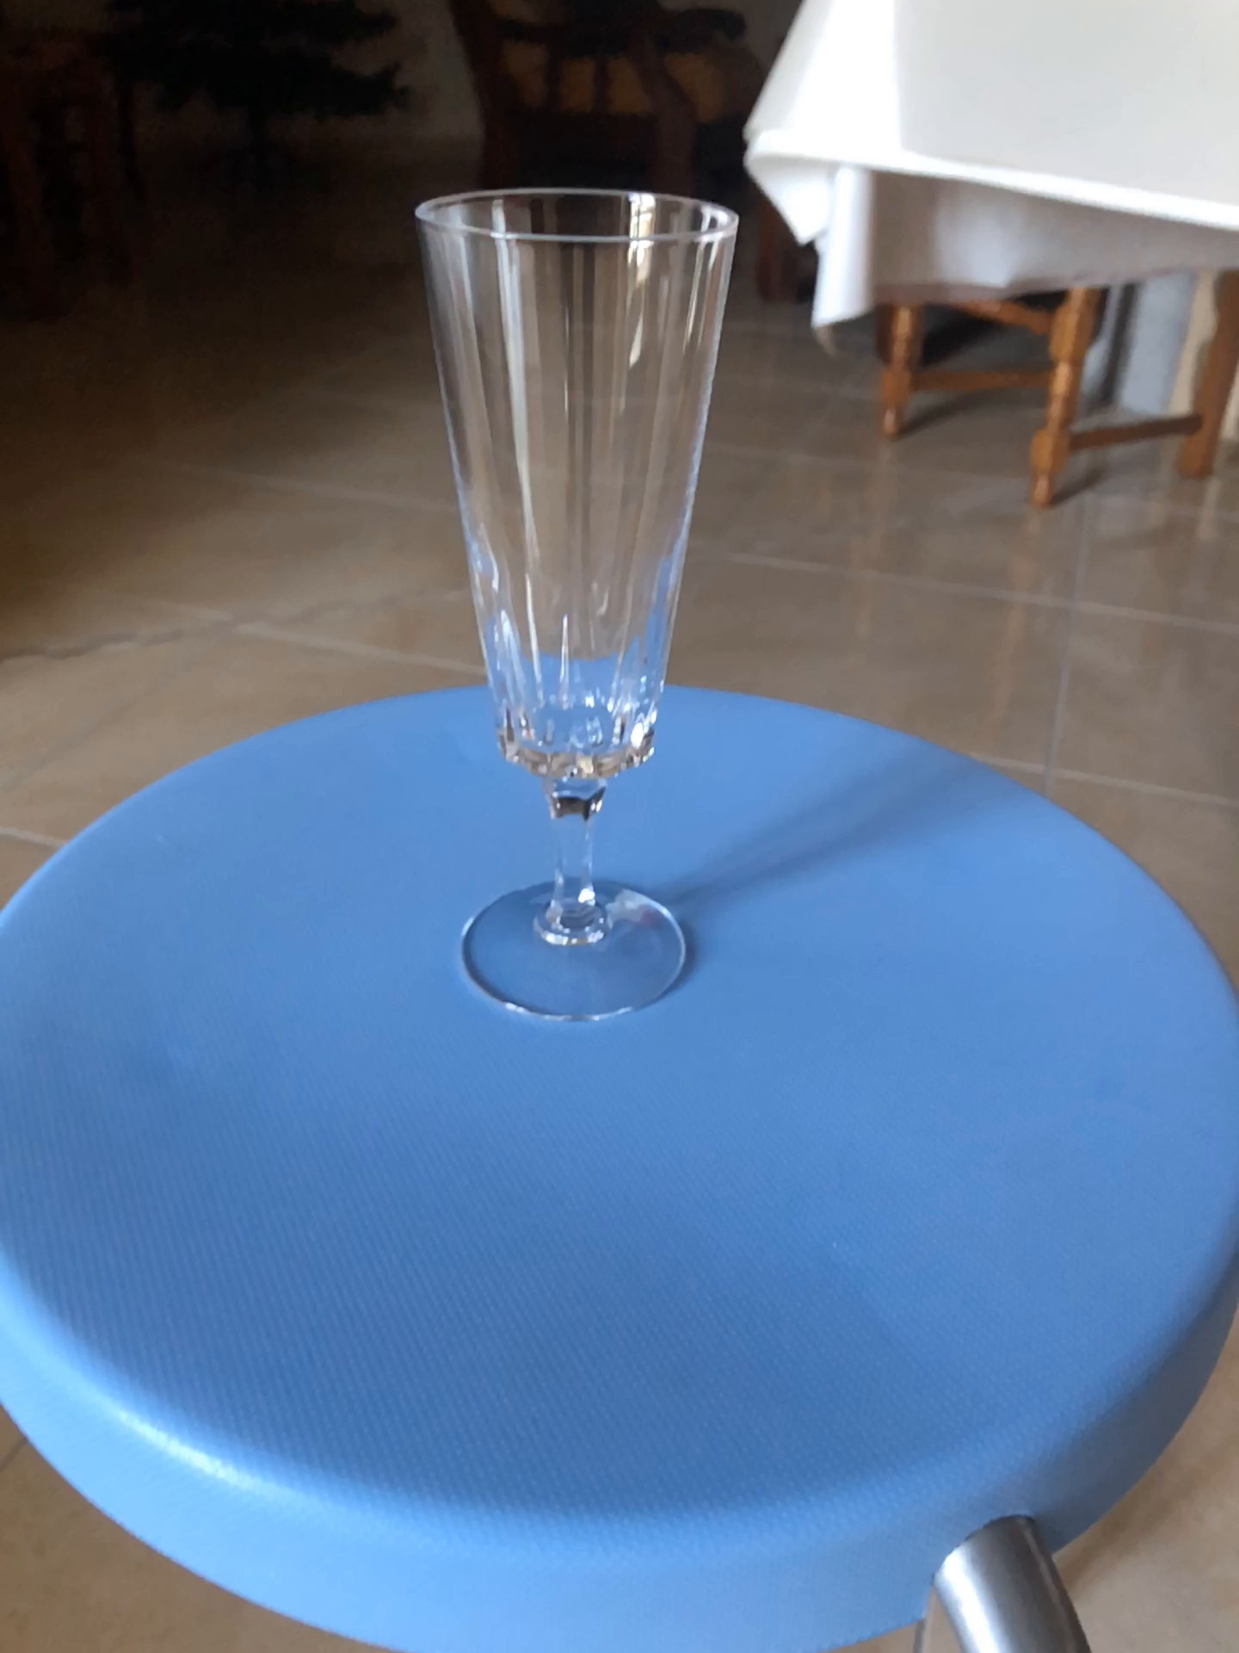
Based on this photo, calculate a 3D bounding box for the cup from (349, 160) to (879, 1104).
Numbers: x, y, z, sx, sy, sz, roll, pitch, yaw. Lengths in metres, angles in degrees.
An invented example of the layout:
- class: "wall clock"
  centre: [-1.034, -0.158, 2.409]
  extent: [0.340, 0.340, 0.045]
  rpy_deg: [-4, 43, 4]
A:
- class: "cup"
  centre: [0.000, -0.042, 0.305]
  extent: [0.070, 0.179, 0.081]
  rpy_deg: [17, 34, 23]
